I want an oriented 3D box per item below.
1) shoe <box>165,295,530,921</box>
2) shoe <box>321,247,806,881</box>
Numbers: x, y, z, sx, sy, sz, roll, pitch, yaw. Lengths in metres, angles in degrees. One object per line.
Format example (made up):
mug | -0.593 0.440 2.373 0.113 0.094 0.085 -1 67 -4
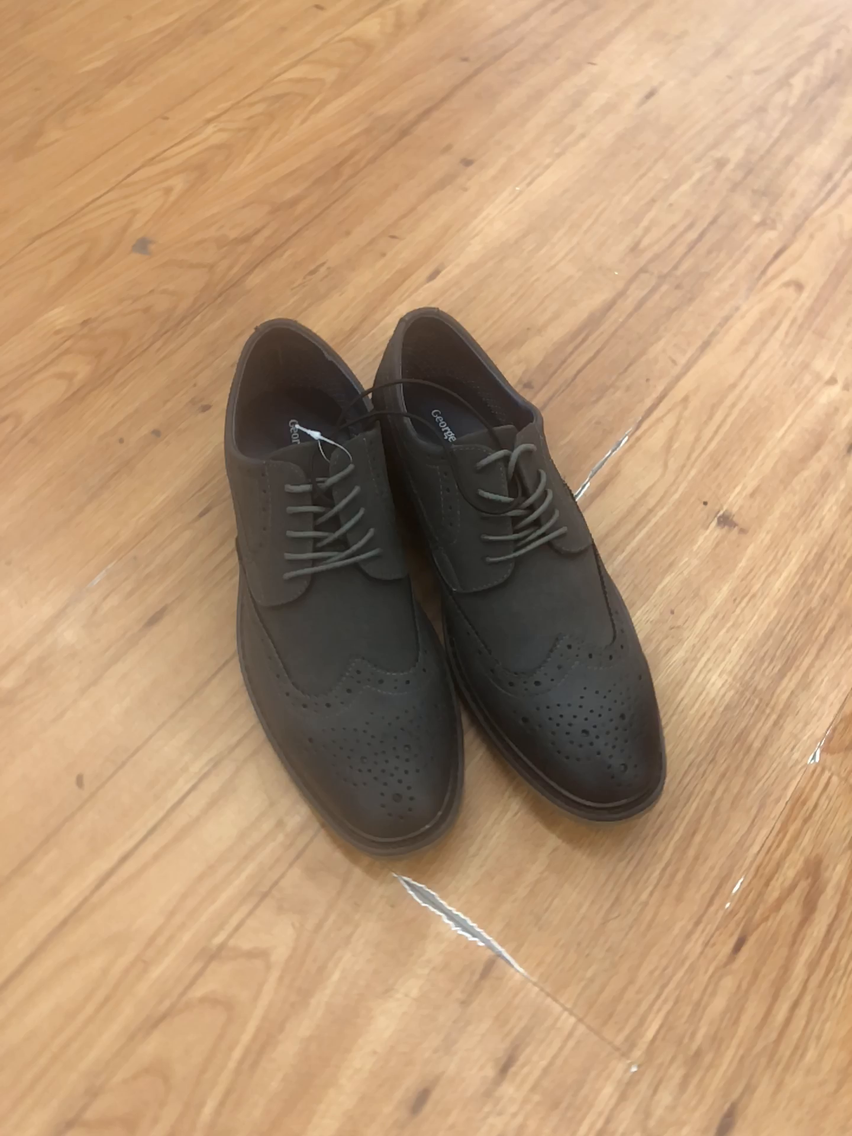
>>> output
shoe | -0.048 0.010 0.474 0.110 0.110 0.280 -12 60 -8
shoe | 0.046 -0.012 0.467 0.110 0.110 0.280 -17 61 -11
